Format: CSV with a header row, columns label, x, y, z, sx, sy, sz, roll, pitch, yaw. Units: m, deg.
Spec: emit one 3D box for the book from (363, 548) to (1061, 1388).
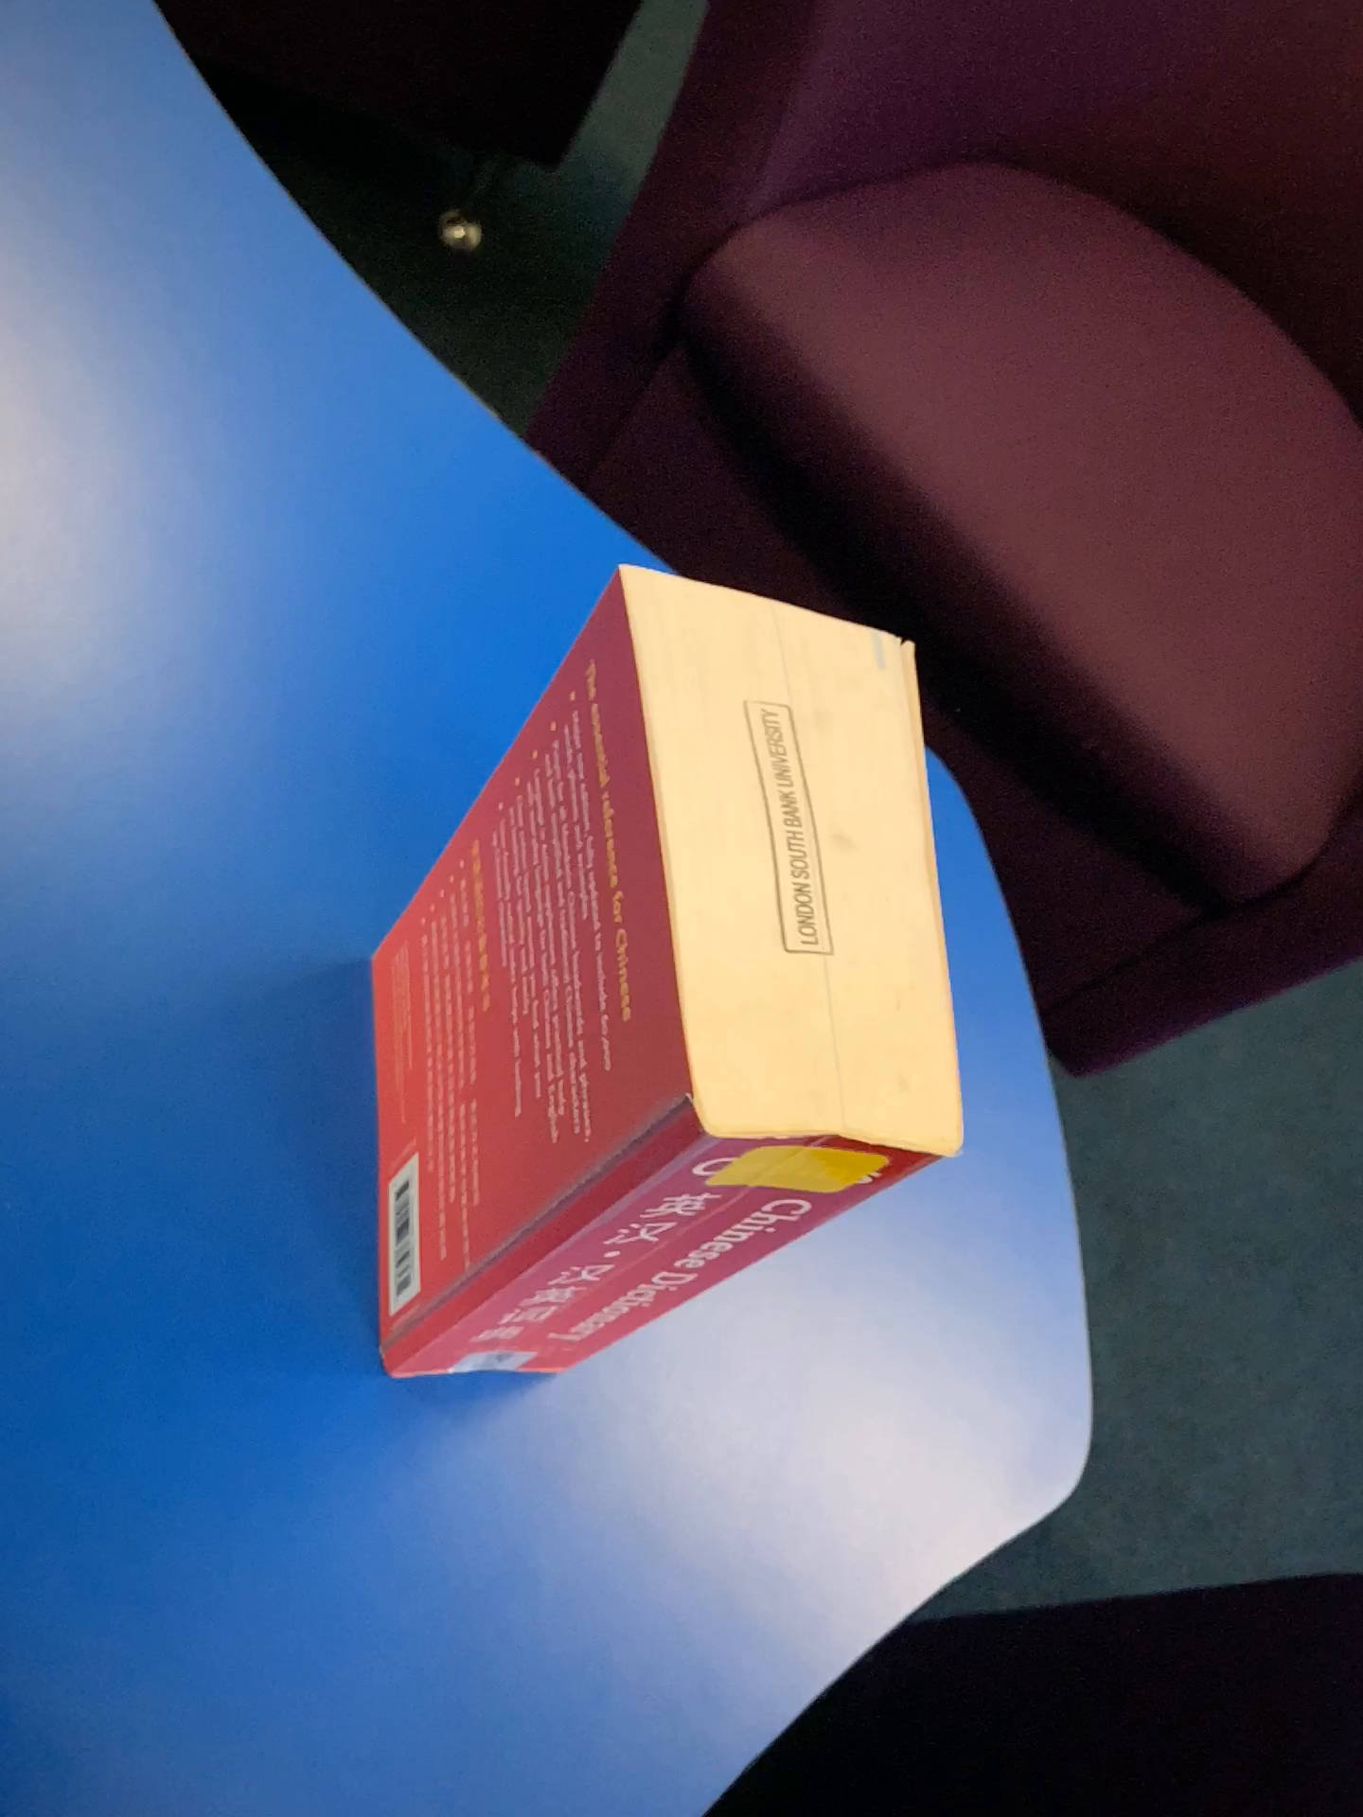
label,x,y,z,sx,sy,sz,roll,pitch,yaw
book,-0.014,0.032,0.374,0.080,0.199,0.141,8,58,-28
